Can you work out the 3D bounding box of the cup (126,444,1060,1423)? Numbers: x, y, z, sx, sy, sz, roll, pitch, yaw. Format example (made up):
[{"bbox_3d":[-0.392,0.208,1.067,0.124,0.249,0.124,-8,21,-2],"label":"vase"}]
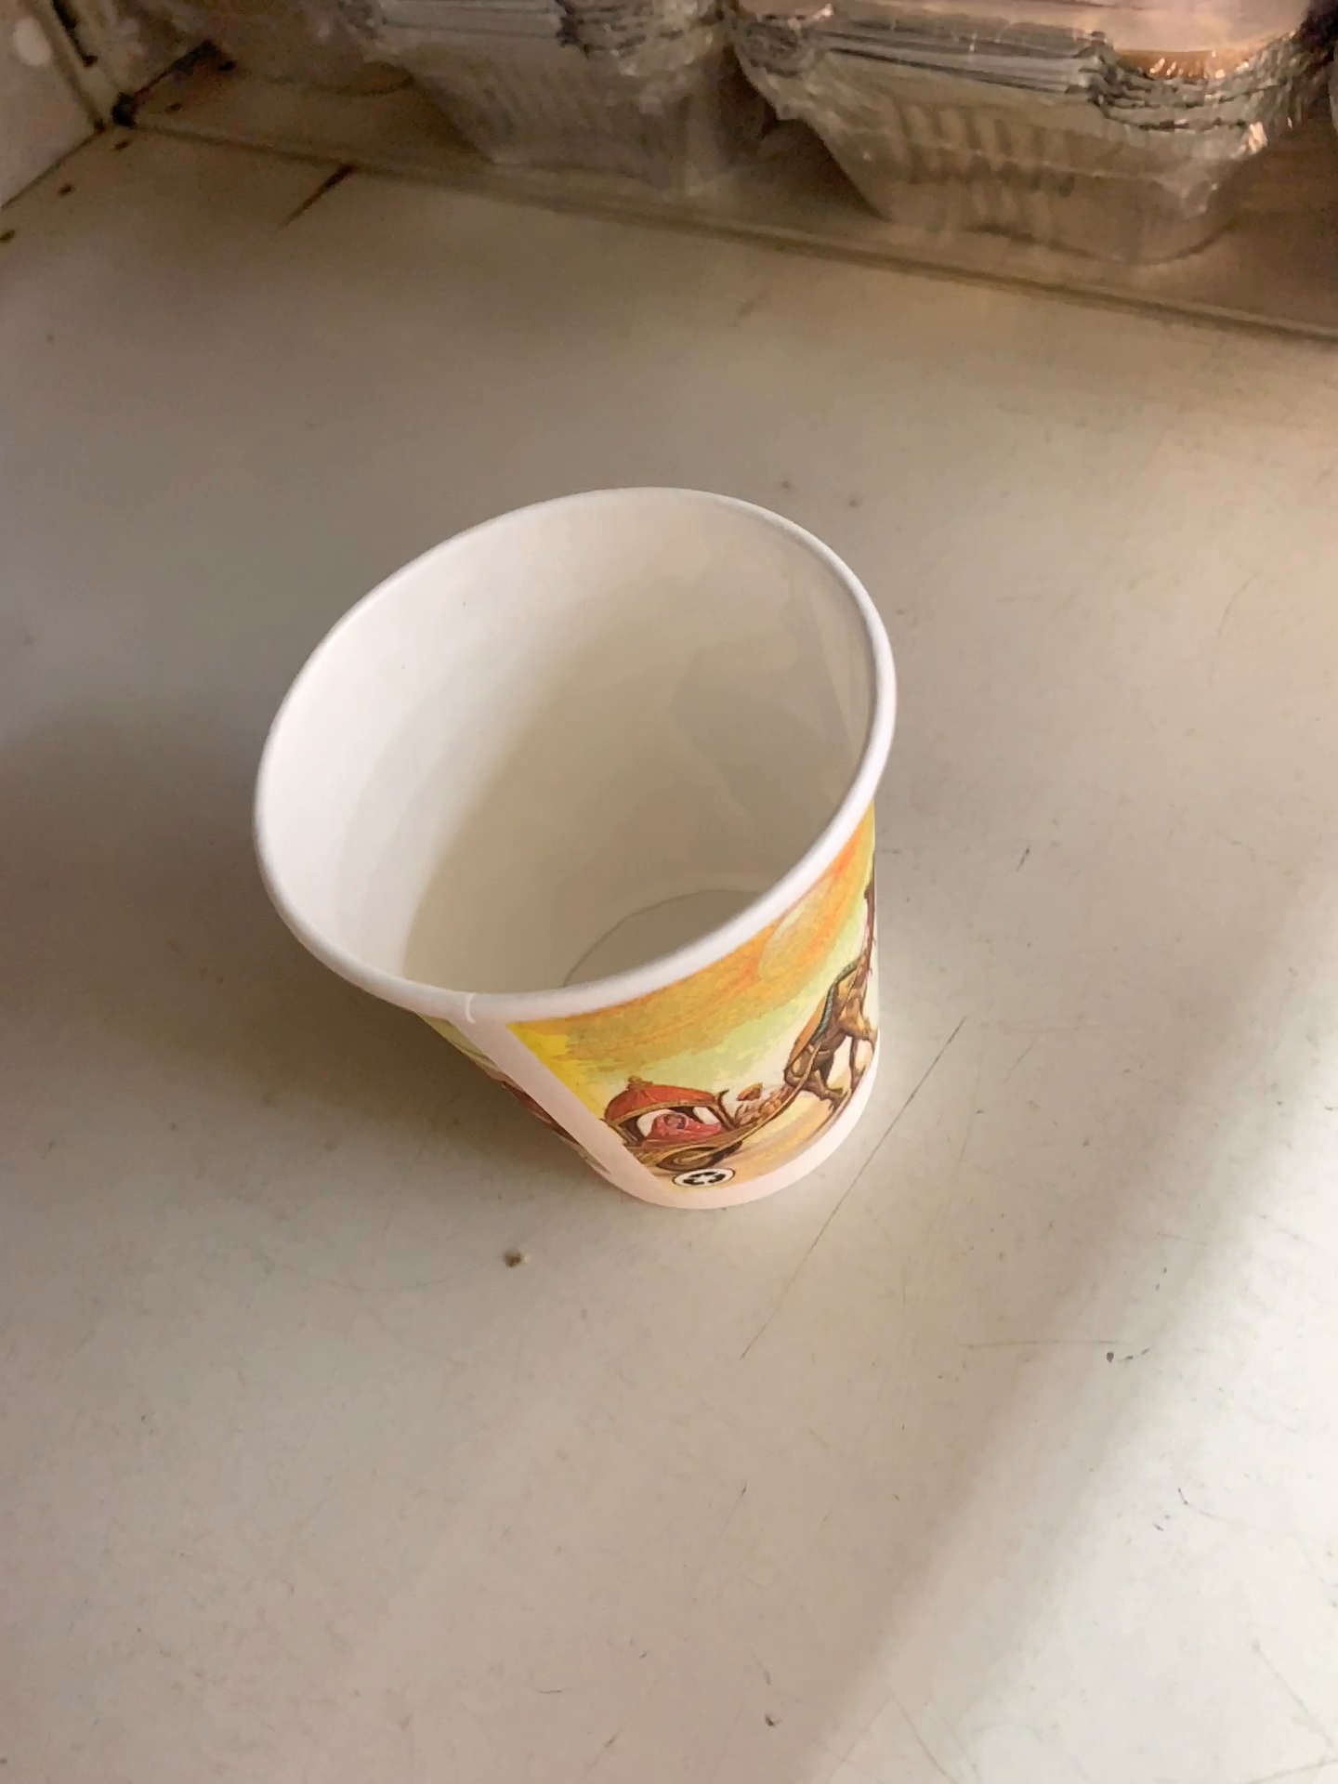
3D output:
[{"bbox_3d":[0.000,0.006,0.174,0.070,0.079,0.070,-8,54,11],"label":"cup"}]
